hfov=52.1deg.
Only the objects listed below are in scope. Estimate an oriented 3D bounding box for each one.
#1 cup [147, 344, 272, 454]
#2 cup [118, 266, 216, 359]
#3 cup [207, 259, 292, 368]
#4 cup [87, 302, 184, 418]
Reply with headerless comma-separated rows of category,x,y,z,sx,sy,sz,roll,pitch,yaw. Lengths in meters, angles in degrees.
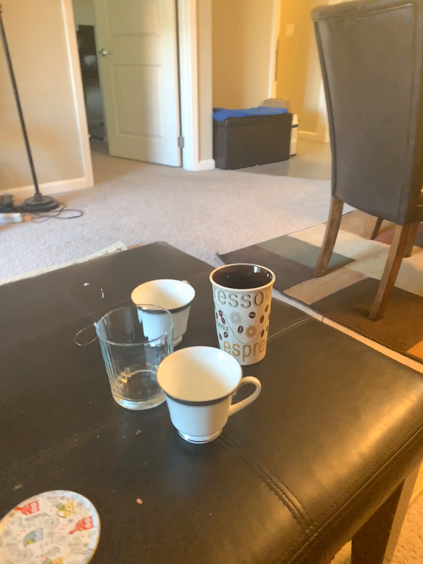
cup,-0.003,0.123,0.473,0.120,0.060,0.101,-1,27,-2
cup,-0.060,0.039,0.625,0.090,0.070,0.110,16,31,29
cup,0.045,0.041,0.589,0.100,0.109,0.101,0,27,0
cup,-0.088,0.095,0.542,0.100,0.099,0.101,0,27,0
